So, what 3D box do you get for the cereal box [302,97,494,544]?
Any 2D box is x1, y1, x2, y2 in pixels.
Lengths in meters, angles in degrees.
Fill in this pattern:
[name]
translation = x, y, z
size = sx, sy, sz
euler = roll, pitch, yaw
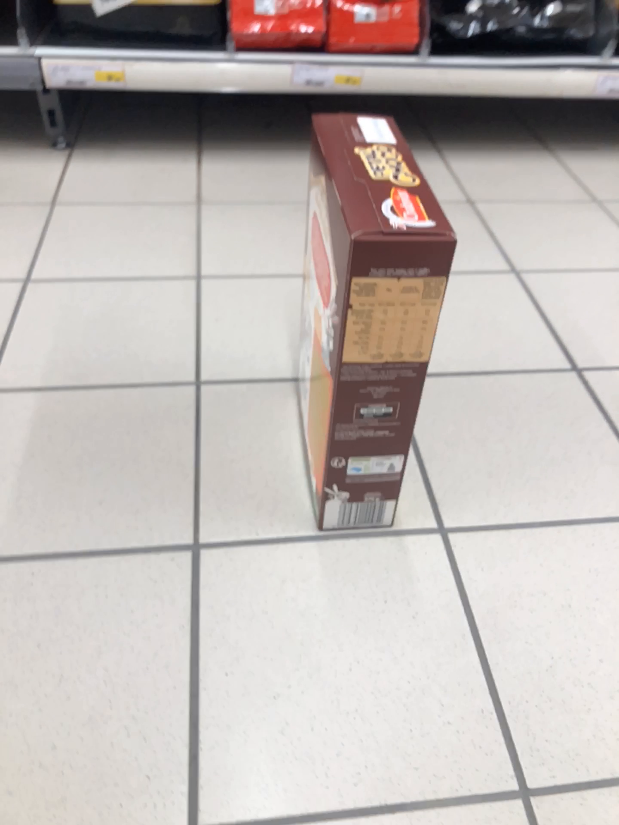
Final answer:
[cereal box]
translation = 0.047, -0.067, 0.537
size = 0.070, 0.278, 0.201
euler = -3, 42, -7
